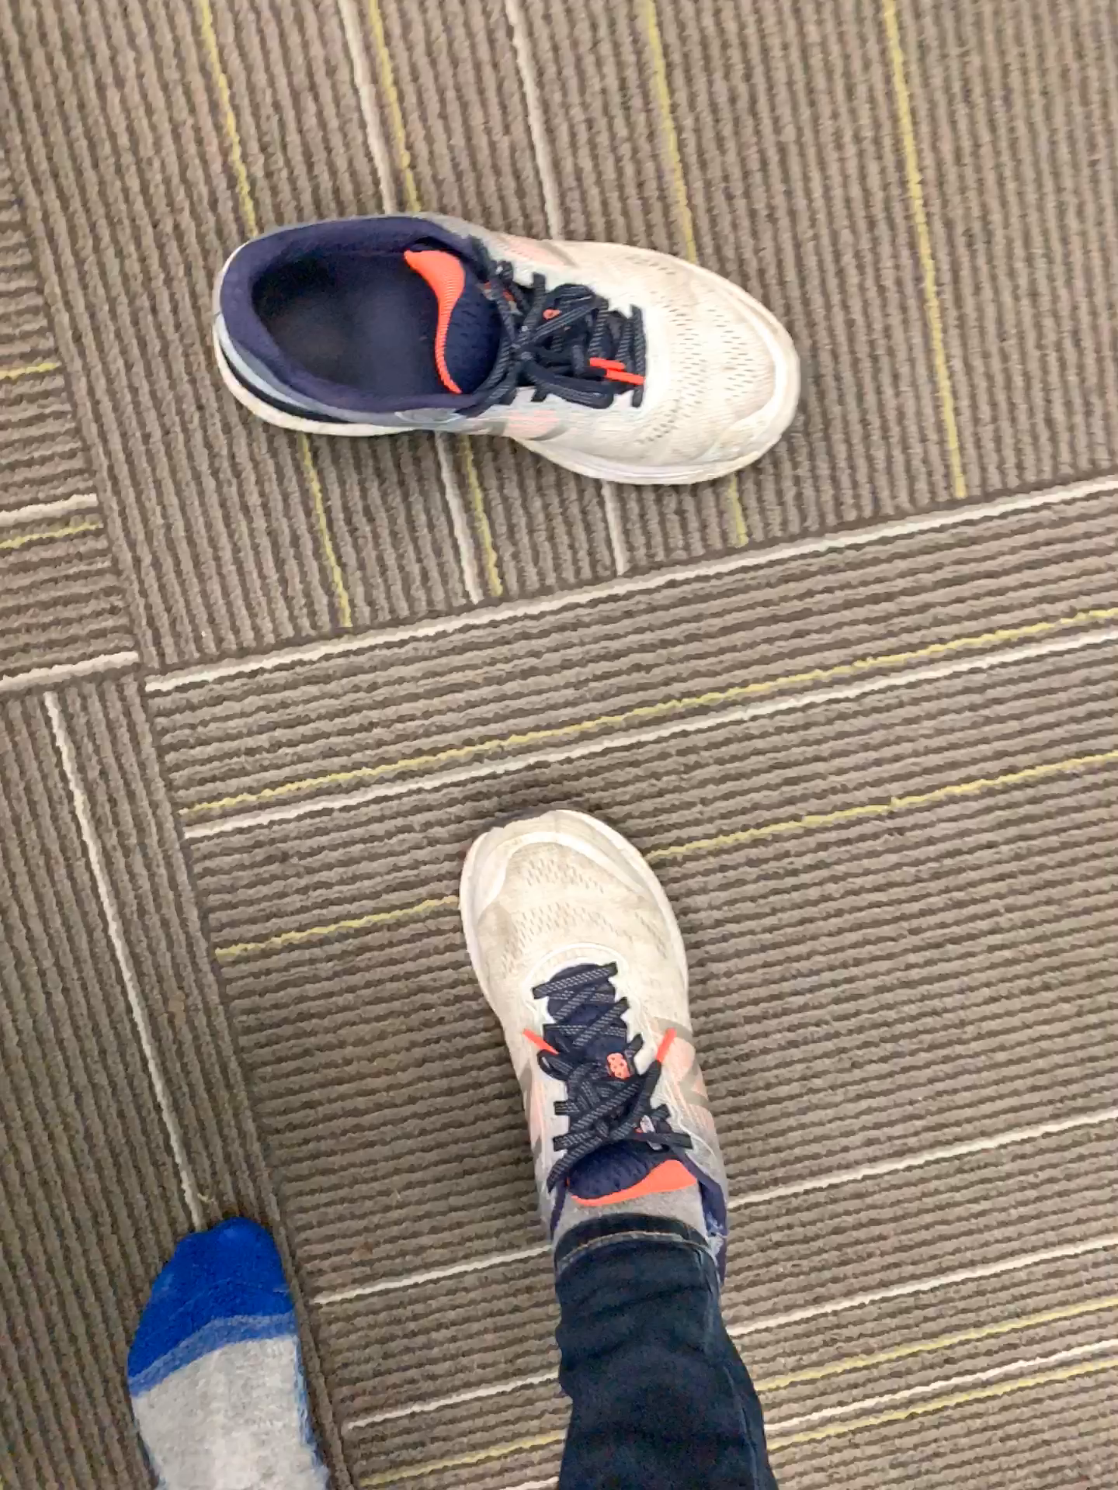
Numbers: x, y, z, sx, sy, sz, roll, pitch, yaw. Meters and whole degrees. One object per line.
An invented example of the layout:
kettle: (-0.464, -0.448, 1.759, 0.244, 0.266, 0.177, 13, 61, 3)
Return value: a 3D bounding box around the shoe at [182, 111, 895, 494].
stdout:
shoe: (-0.011, -0.174, 0.485, 0.260, 0.120, 0.110, 2, 98, -4)
